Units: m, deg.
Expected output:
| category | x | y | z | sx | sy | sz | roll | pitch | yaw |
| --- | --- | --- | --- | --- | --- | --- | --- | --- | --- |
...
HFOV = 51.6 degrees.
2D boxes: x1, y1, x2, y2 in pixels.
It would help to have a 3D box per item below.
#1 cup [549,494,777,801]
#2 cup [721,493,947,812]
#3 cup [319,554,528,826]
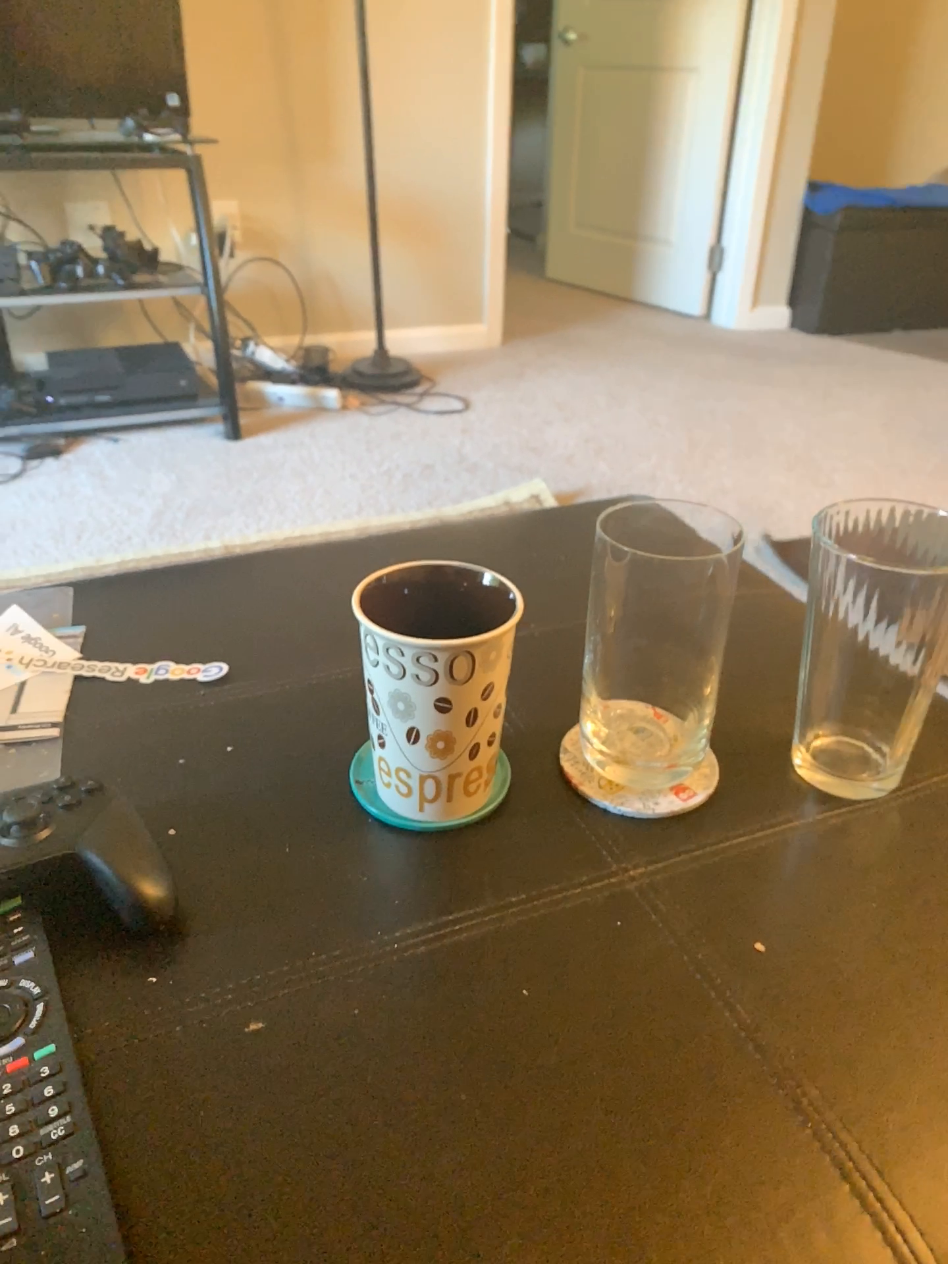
| category | x | y | z | sx | sy | sz | roll | pitch | yaw |
| --- | --- | --- | --- | --- | --- | --- | --- | --- | --- |
| cup | 0.089 | 0.007 | 0.498 | 0.080 | 0.129 | 0.080 | 1 | 30 | -1 |
| cup | 0.194 | 0.010 | 0.516 | 0.080 | 0.139 | 0.080 | 1 | 30 | -1 |
| cup | -0.023 | 0.027 | 0.487 | 0.090 | 0.099 | 0.091 | 1 | 31 | -1 |
